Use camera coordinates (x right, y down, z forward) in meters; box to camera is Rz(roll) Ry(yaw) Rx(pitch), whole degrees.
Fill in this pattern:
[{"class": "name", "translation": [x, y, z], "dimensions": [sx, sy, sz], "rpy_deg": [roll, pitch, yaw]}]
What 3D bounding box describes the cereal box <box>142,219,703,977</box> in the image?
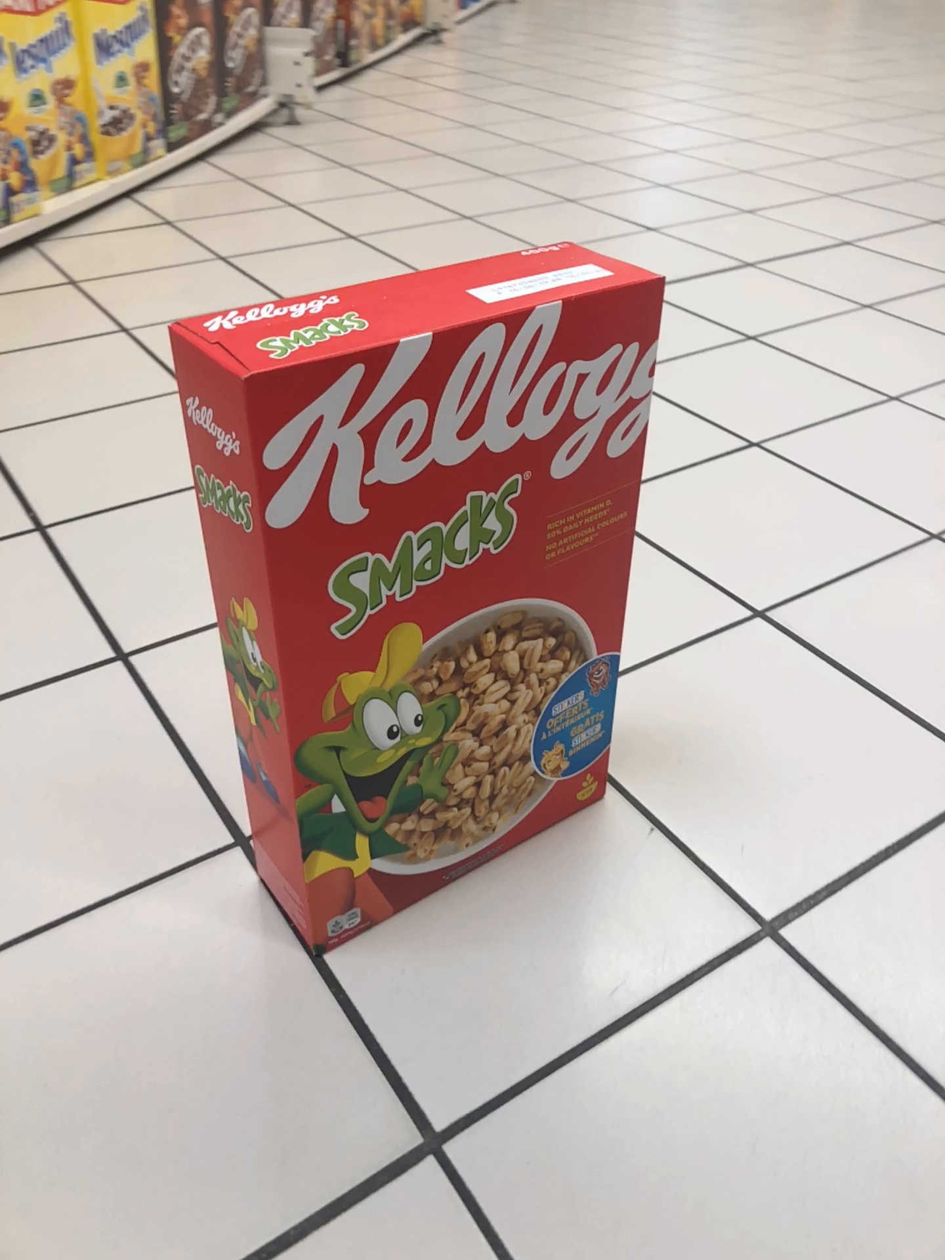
[{"class": "cereal box", "translation": [-0.016, -0.010, 0.478], "dimensions": [0.201, 0.298, 0.080], "rpy_deg": [-23, 43, -30]}]
